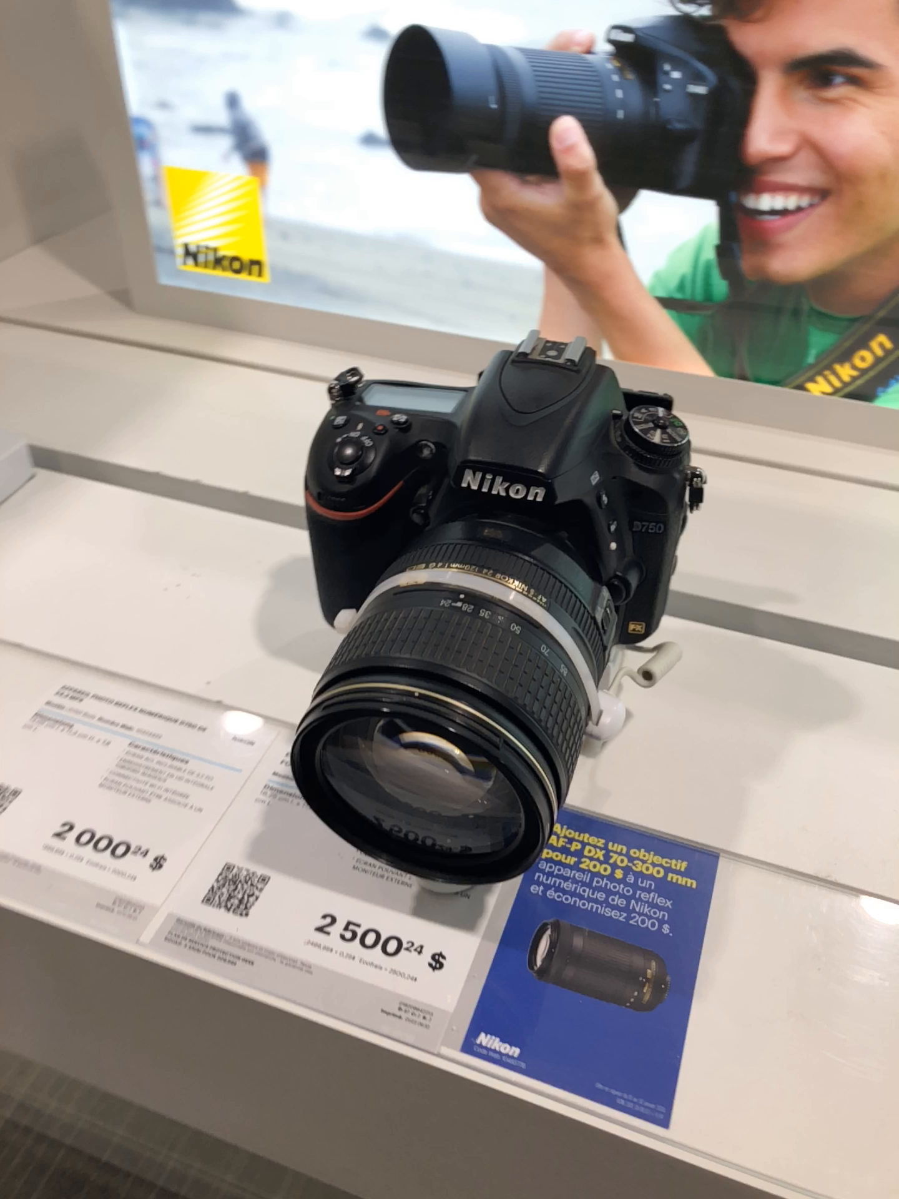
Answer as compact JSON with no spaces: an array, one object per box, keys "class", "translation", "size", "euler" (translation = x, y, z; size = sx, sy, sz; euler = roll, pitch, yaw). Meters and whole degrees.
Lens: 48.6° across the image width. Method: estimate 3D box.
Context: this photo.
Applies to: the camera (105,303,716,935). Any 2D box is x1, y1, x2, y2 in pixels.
[{"class":"camera","translation":[0.003,-0.010,0.341],"size":[0.138,0.099,0.184],"euler":[12,40,13]}]
